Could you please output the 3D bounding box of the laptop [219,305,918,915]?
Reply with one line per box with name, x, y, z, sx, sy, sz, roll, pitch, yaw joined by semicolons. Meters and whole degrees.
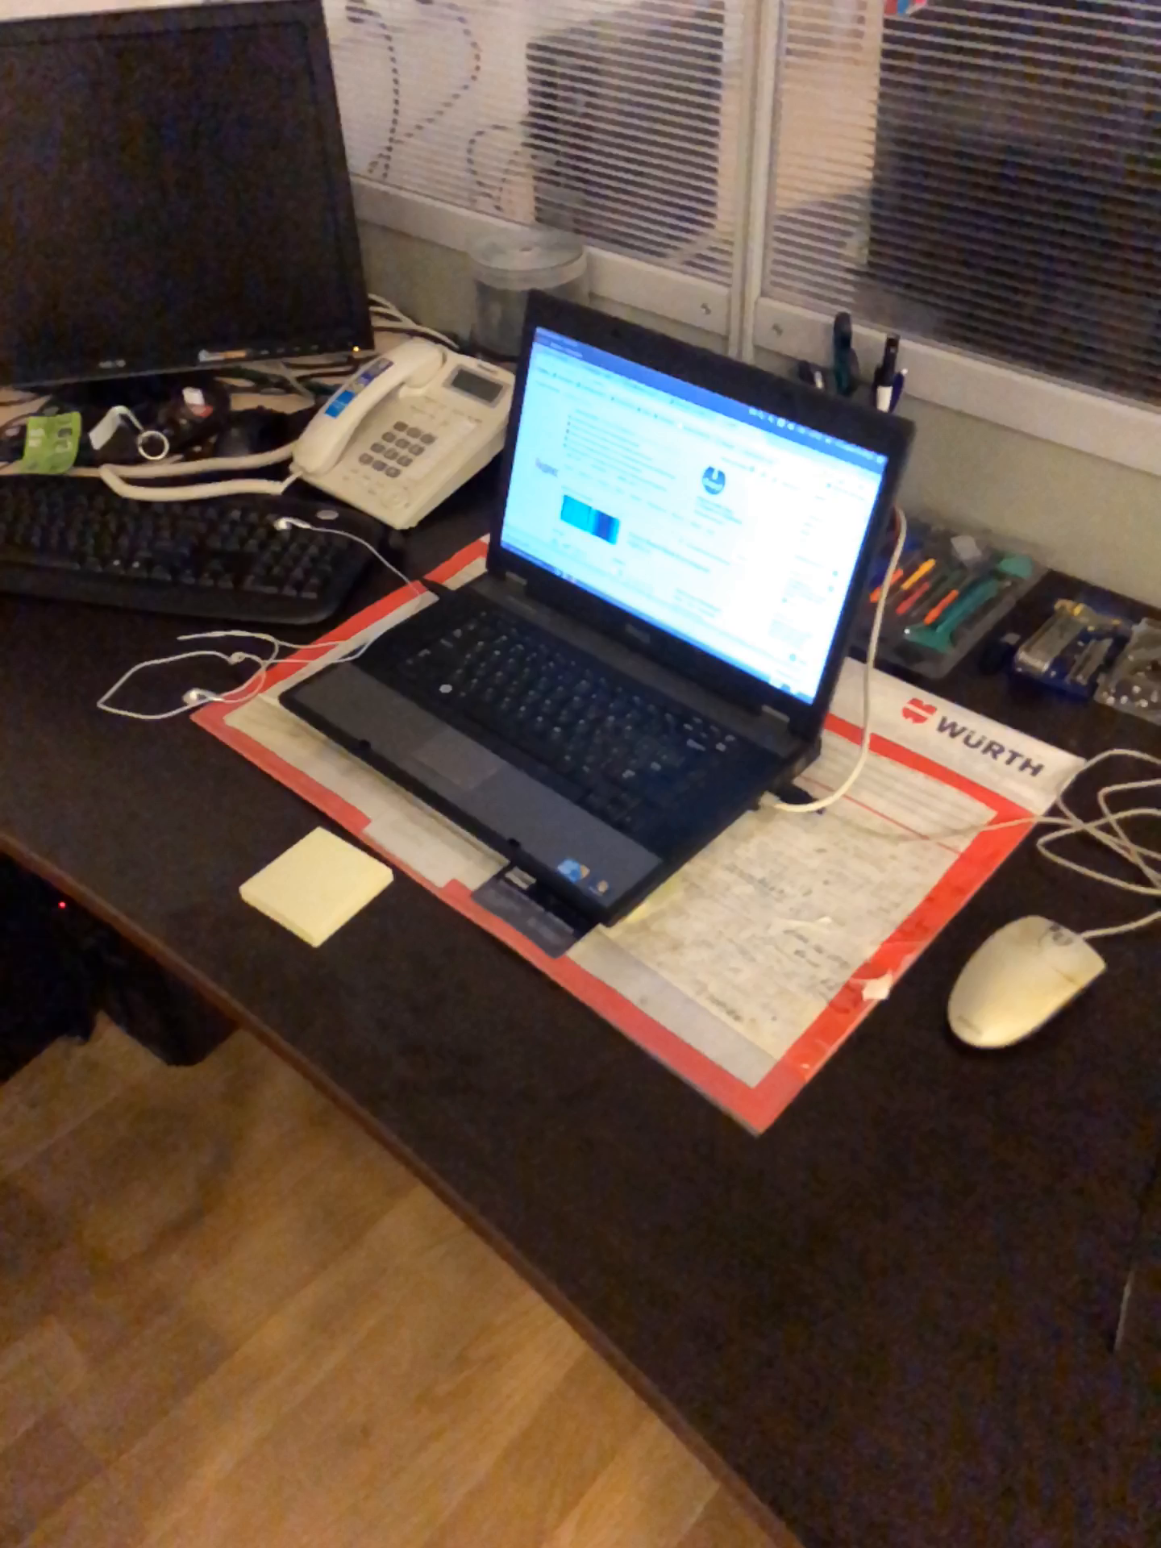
laptop;-0.007;-0.125;0.820;0.317;0.209;0.256;31;52;31
